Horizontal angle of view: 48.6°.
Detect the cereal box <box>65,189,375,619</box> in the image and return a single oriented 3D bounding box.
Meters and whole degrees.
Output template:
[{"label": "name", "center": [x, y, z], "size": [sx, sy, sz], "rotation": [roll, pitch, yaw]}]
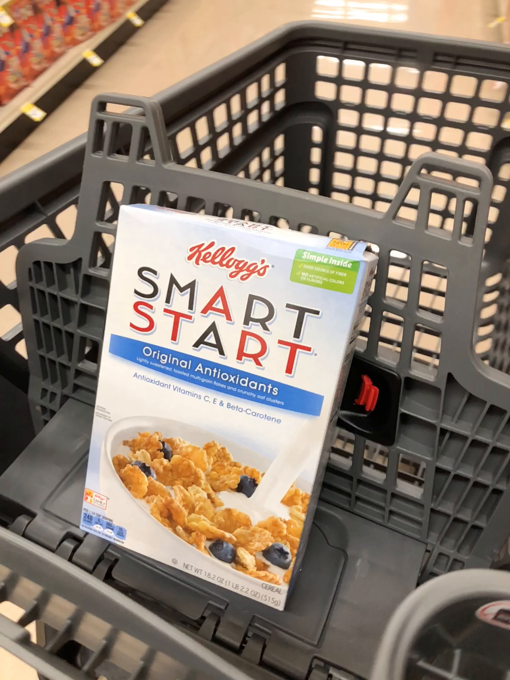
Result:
[{"label": "cereal box", "center": [-0.039, 0.047, 0.468], "size": [0.200, 0.300, 0.070], "rotation": [15, 16, 16]}]
